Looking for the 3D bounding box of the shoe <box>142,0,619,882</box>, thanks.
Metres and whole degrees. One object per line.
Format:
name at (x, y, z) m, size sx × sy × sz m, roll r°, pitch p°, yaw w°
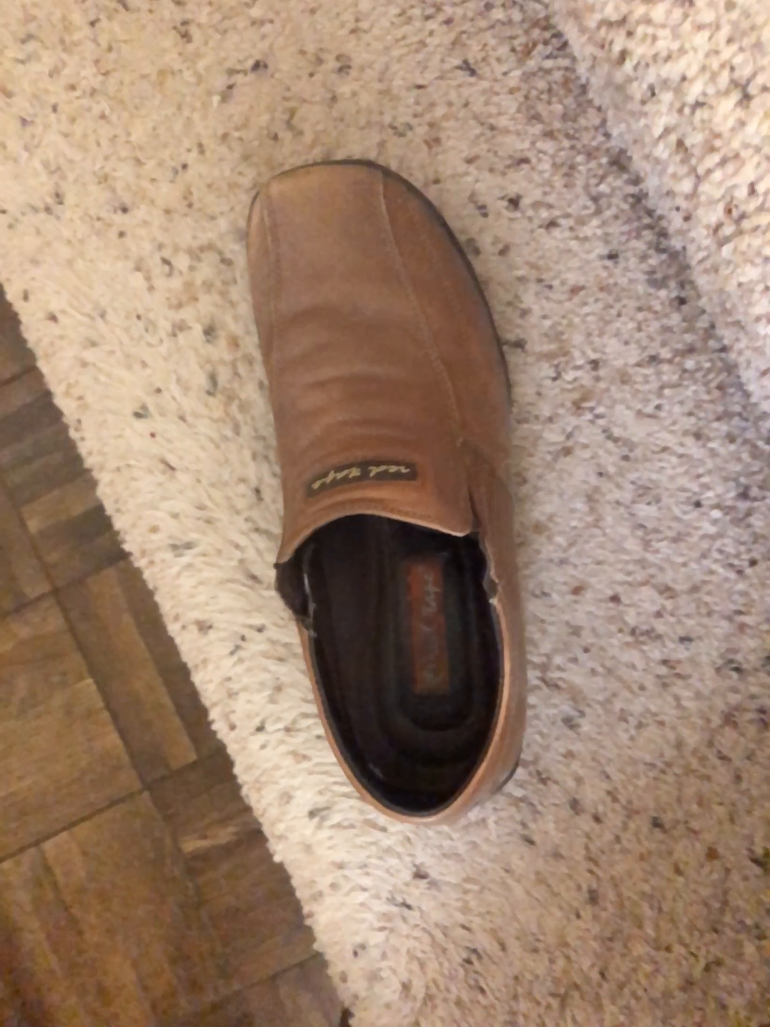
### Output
shoe at (0.000, -0.027, 0.349) m, size 0.110 × 0.120 × 0.290 m, roll -11°, pitch 86°, yaw 4°
